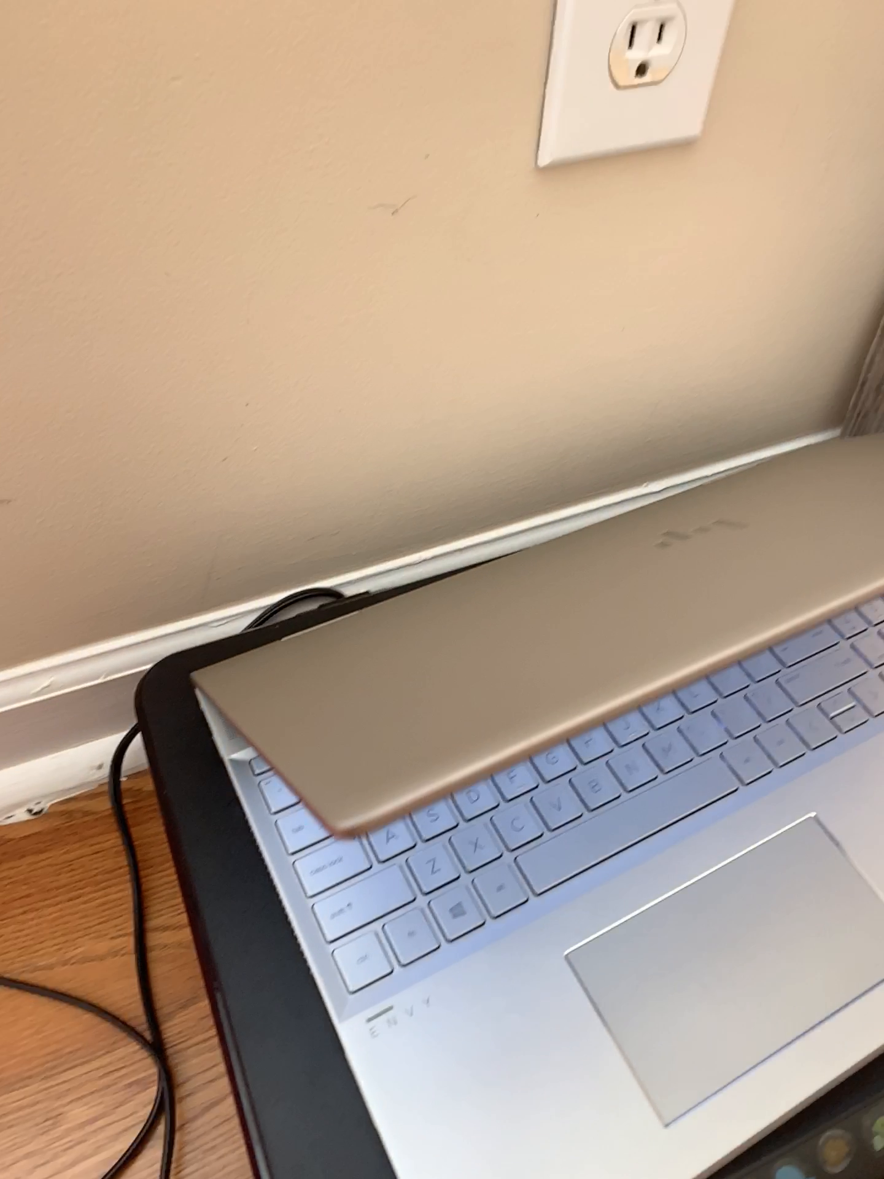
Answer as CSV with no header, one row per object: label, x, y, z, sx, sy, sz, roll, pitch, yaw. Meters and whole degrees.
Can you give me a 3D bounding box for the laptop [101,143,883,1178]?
laptop,0.111,0.012,0.311,0.351,0.169,0.237,-20,54,-20
